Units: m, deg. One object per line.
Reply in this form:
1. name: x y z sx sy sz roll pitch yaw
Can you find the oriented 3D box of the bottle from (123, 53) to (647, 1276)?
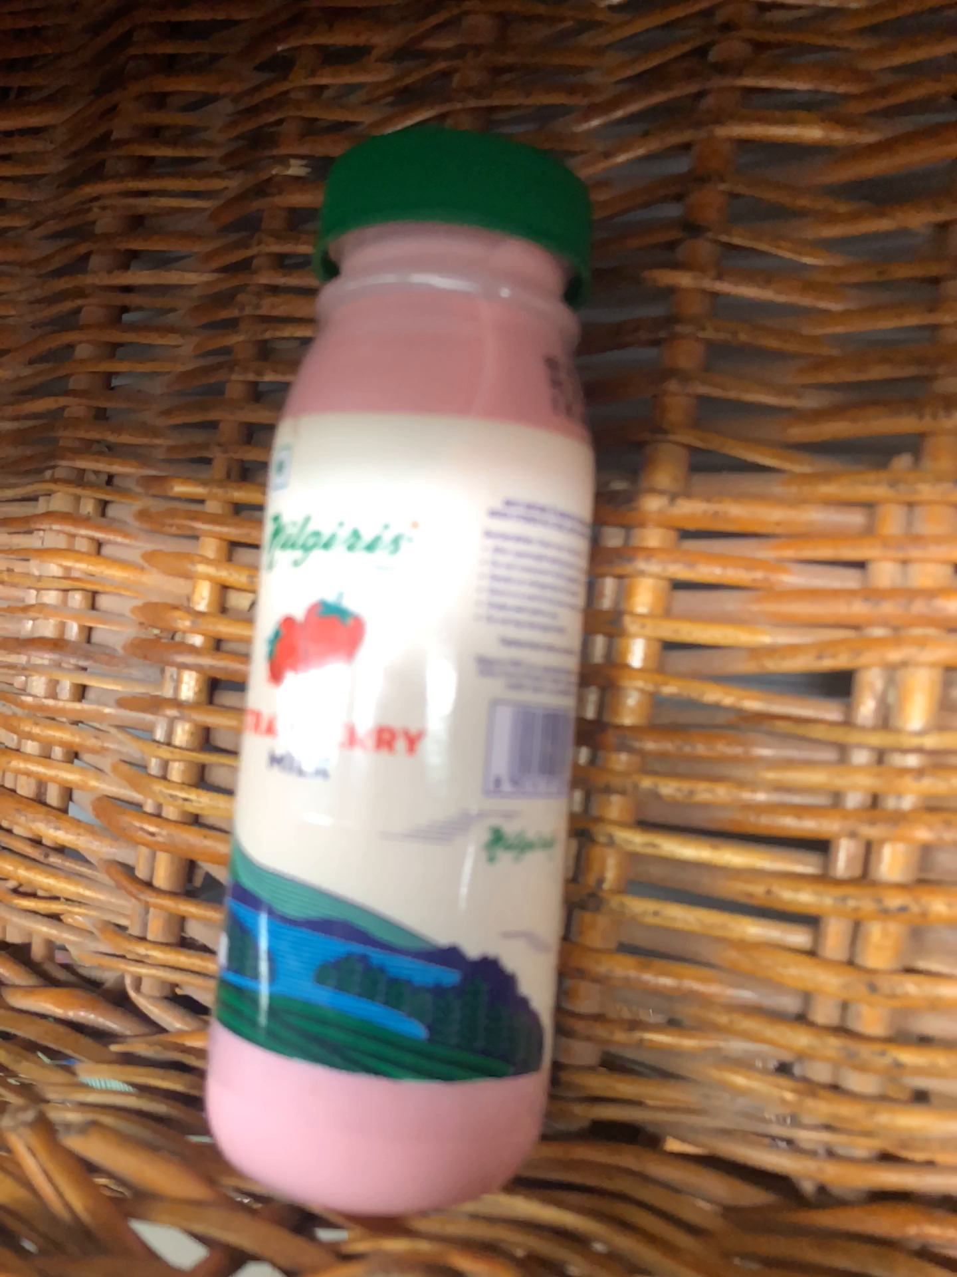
1. bottle: -0.011 0.003 0.154 0.050 0.040 0.150 3 87 24
